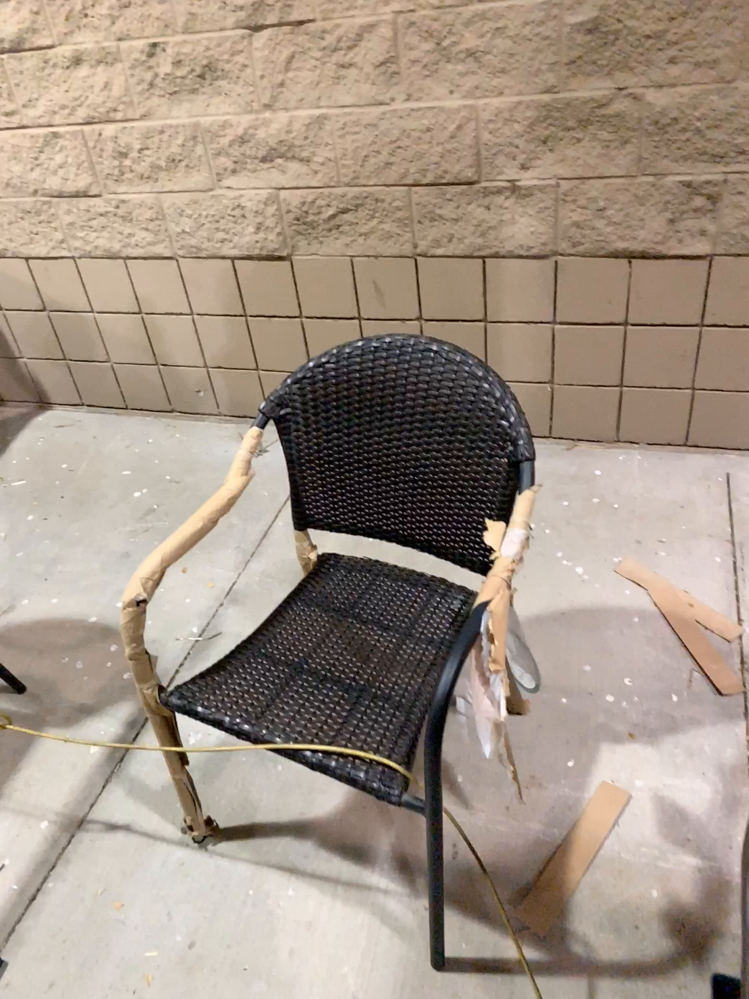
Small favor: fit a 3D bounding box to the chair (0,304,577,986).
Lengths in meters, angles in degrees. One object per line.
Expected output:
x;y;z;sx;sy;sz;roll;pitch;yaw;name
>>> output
-0.044;0.211;1.290;0.576;0.839;0.599;12;41;25;chair
